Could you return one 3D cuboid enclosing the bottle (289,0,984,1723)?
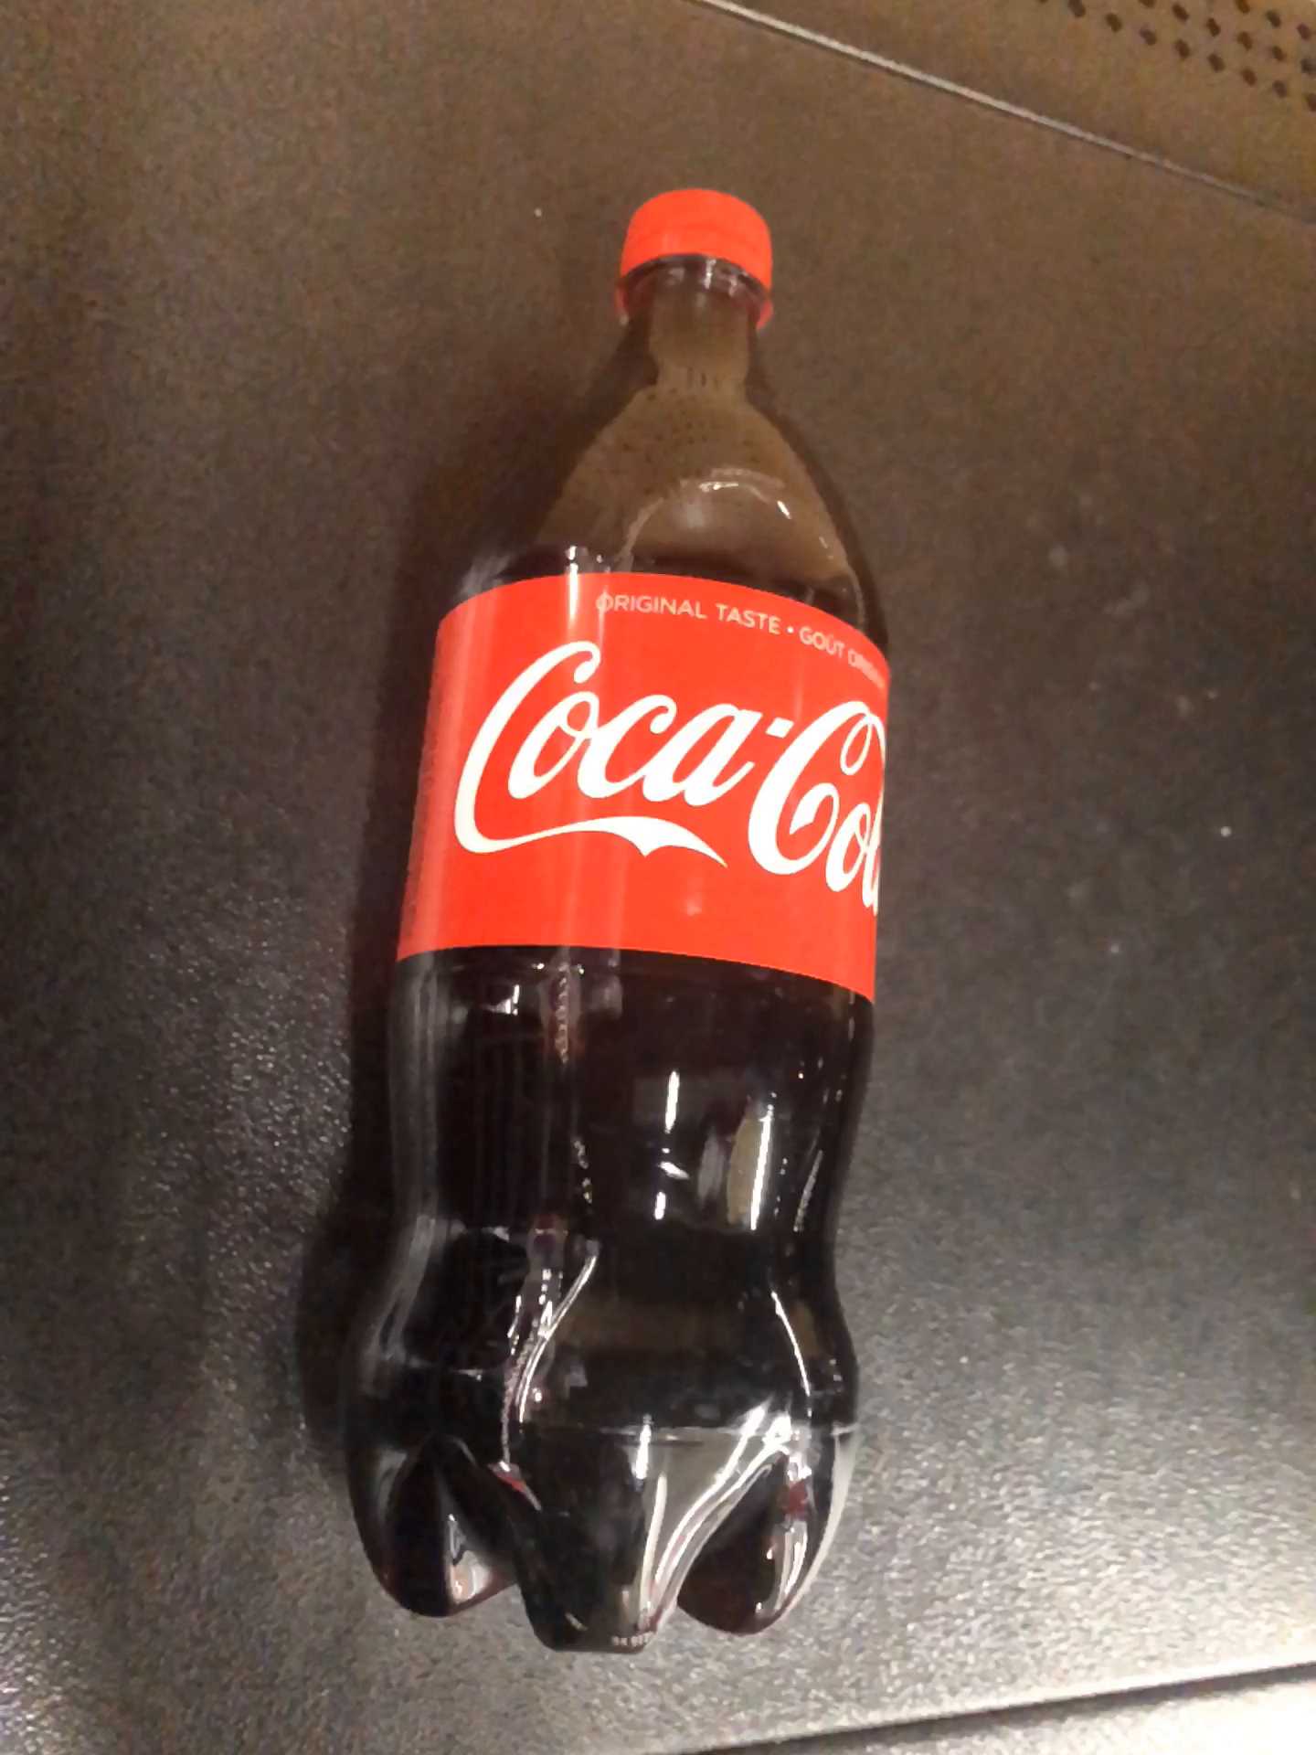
[{"bbox_3d":[-0.003,-0.006,0.266,0.080,0.080,0.260,10,77,-22],"label":"bottle"}]
